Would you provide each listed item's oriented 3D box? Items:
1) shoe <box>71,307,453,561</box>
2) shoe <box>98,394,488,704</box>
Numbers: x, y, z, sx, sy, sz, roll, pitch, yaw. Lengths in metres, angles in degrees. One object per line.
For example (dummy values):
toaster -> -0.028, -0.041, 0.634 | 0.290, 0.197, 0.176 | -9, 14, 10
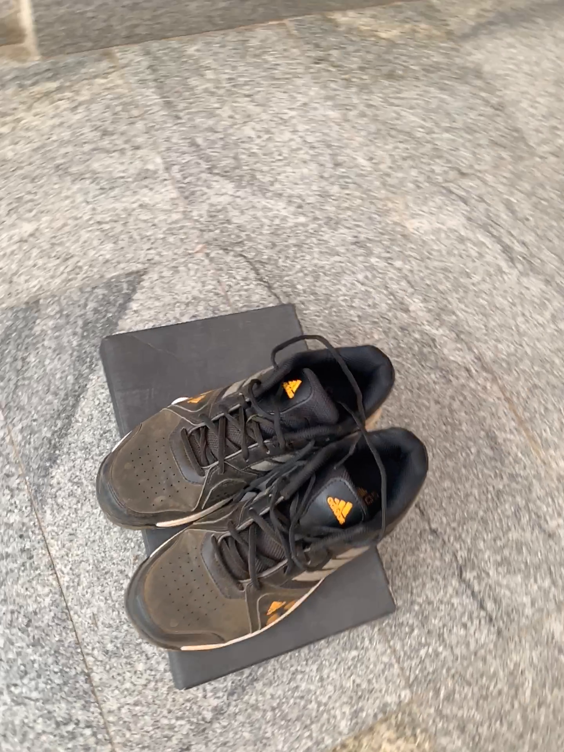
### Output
shoe -> -0.015, 0.047, 0.506 | 0.291, 0.090, 0.110 | -19, 75, -18
shoe -> 0.013, 0.140, 0.501 | 0.301, 0.090, 0.110 | -24, 69, -19
